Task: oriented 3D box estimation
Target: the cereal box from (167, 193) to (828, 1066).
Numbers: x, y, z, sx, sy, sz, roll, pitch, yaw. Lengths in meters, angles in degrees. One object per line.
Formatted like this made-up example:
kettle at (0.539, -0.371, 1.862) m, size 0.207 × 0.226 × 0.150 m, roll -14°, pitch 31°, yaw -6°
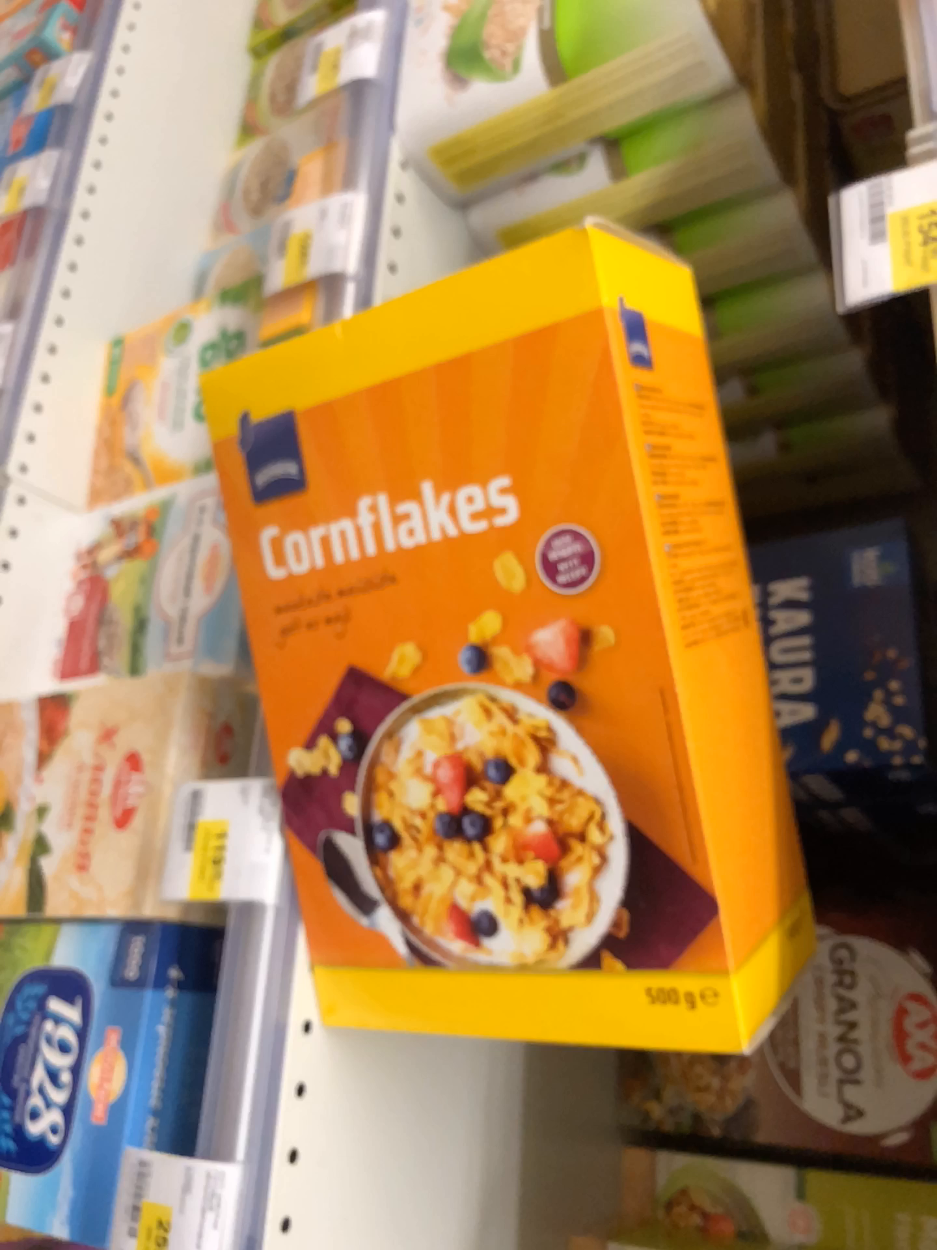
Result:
cereal box at (0.012, 0.010, 0.448) m, size 0.121 × 0.199 × 0.290 m, roll -12°, pitch 91°, yaw -58°
